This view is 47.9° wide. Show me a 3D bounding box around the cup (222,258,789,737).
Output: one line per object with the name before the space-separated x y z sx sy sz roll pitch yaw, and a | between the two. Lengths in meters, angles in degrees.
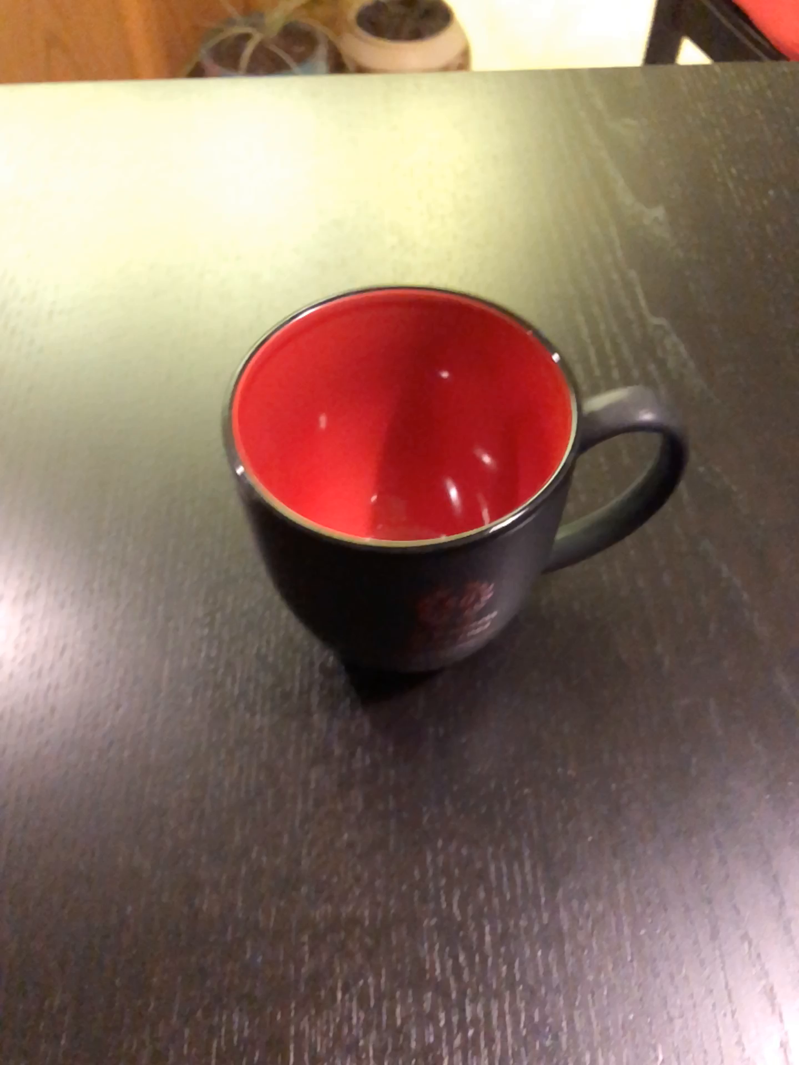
cup | 0.023 -0.008 0.293 0.140 0.110 0.100 -5 55 -2
